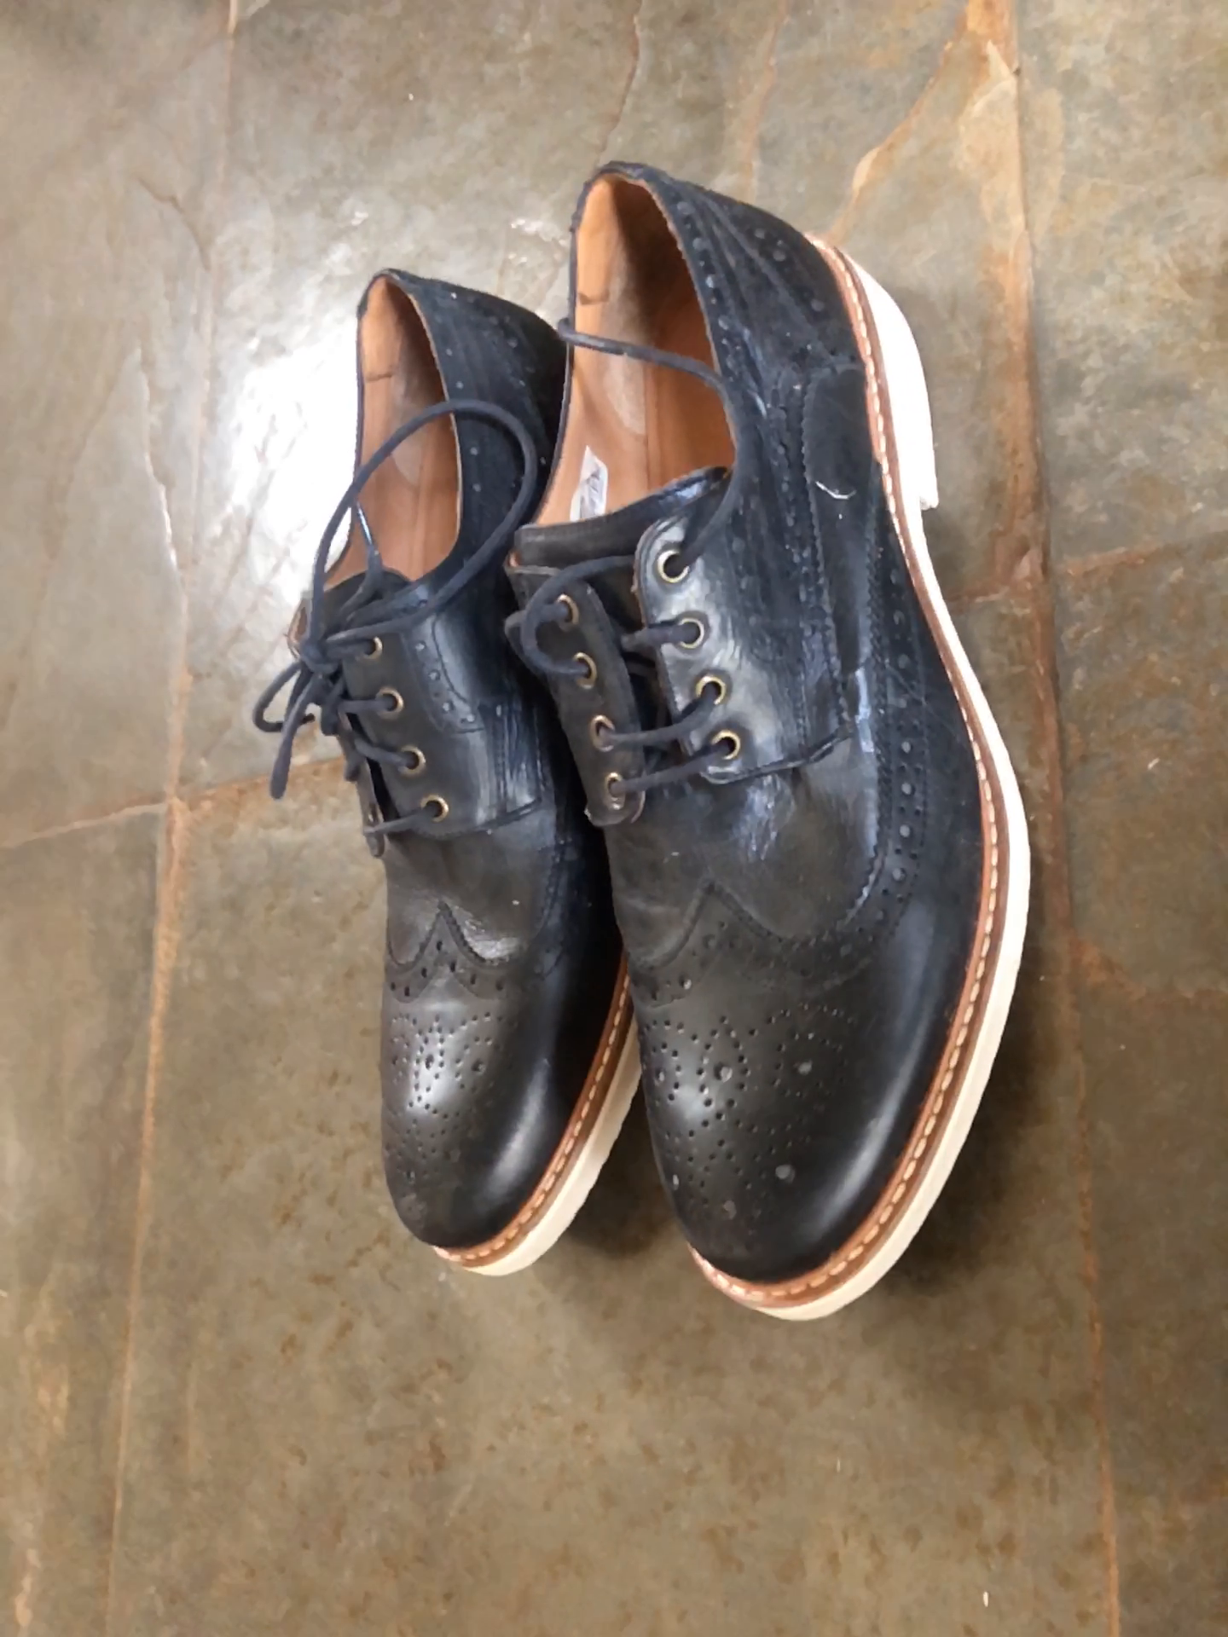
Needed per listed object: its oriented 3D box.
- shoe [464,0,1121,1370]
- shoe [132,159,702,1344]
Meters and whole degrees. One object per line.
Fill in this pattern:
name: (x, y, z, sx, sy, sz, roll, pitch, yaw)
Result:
shoe: (0.038, -0.033, 0.341, 0.110, 0.100, 0.300, -13, 72, 38)
shoe: (-0.051, -0.015, 0.393, 0.110, 0.100, 0.290, -8, 75, 39)
